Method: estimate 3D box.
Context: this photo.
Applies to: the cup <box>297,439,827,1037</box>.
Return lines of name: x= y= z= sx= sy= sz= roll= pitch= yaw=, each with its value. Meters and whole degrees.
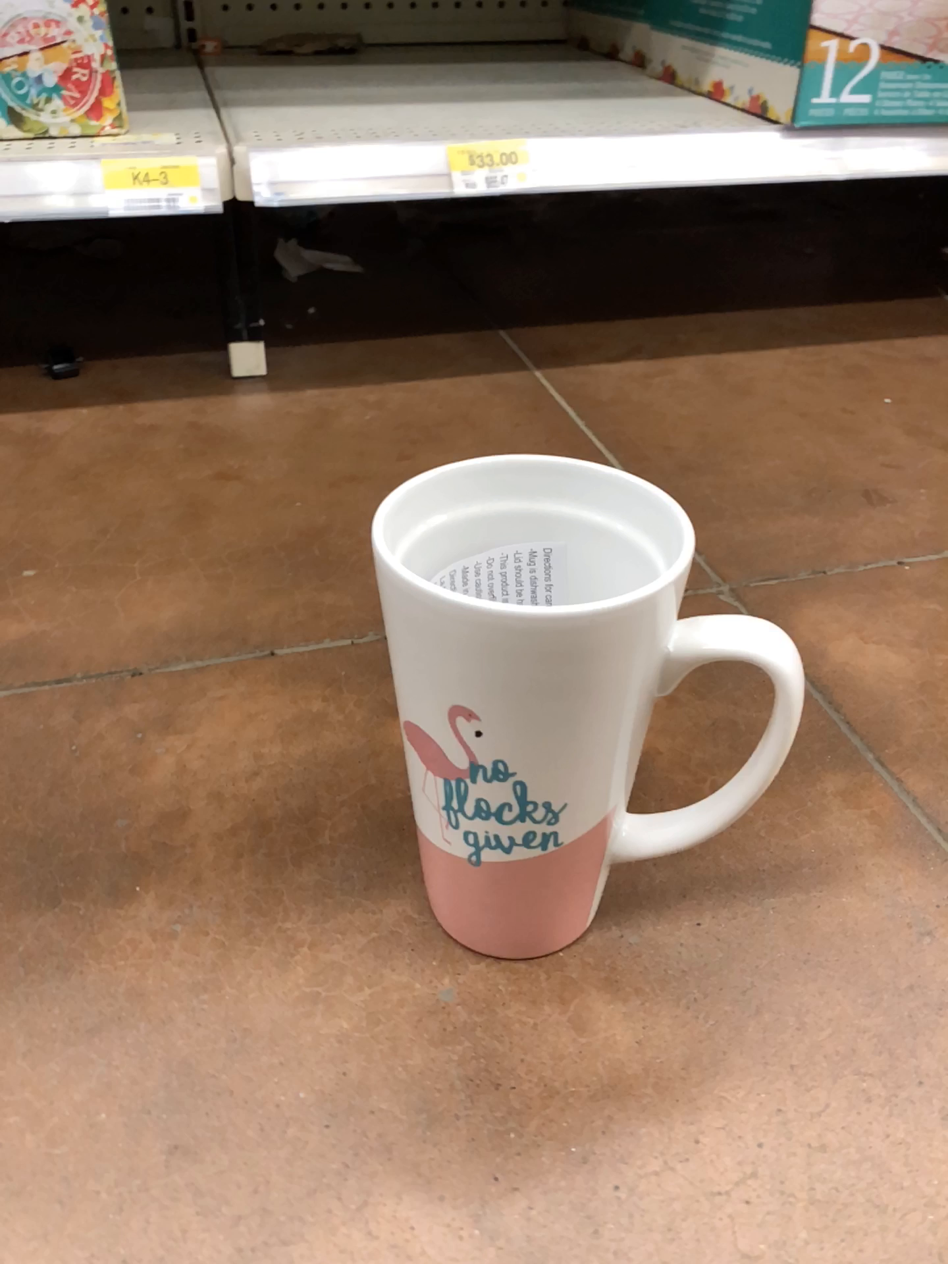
cup: x=0.029 y=0.030 z=0.335 sx=0.130 sy=0.139 sz=0.100 roll=8 pitch=34 yaw=11
